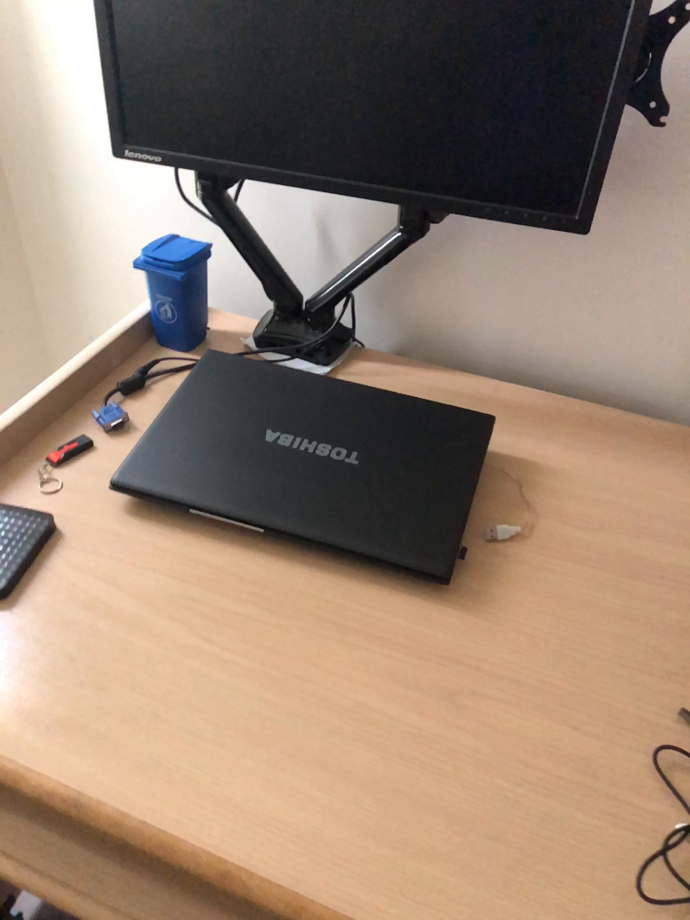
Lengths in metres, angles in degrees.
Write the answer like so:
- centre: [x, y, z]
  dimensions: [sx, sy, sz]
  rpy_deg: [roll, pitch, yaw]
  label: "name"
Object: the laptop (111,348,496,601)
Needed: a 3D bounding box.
- centre: [-0.037, -0.002, 0.891]
  dimensions: [0.380, 0.029, 0.258]
  rpy_deg: [15, 47, 12]
  label: "laptop"
